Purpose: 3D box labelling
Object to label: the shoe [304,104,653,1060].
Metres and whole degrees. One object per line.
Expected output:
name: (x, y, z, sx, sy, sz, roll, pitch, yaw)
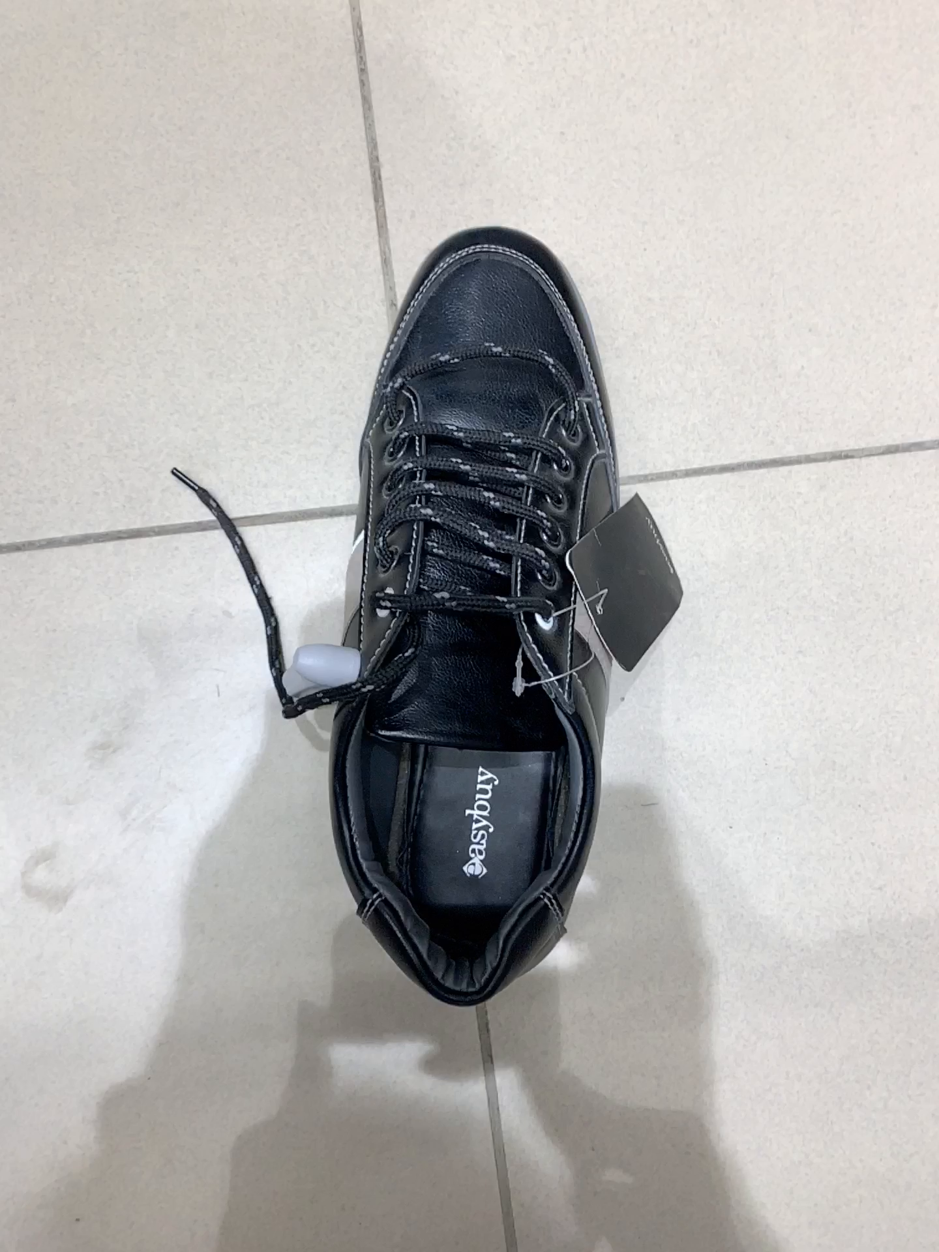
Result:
shoe: (0.004, -0.016, 0.348, 0.100, 0.090, 0.300, 2, 83, -3)
